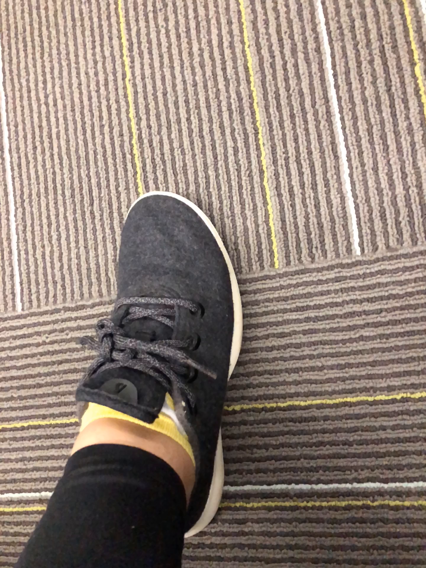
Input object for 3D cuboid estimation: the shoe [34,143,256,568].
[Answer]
[{"bbox_3d":[-0.044,0.053,0.321,0.120,0.080,0.260,-4,85,17],"label":"shoe"}]
